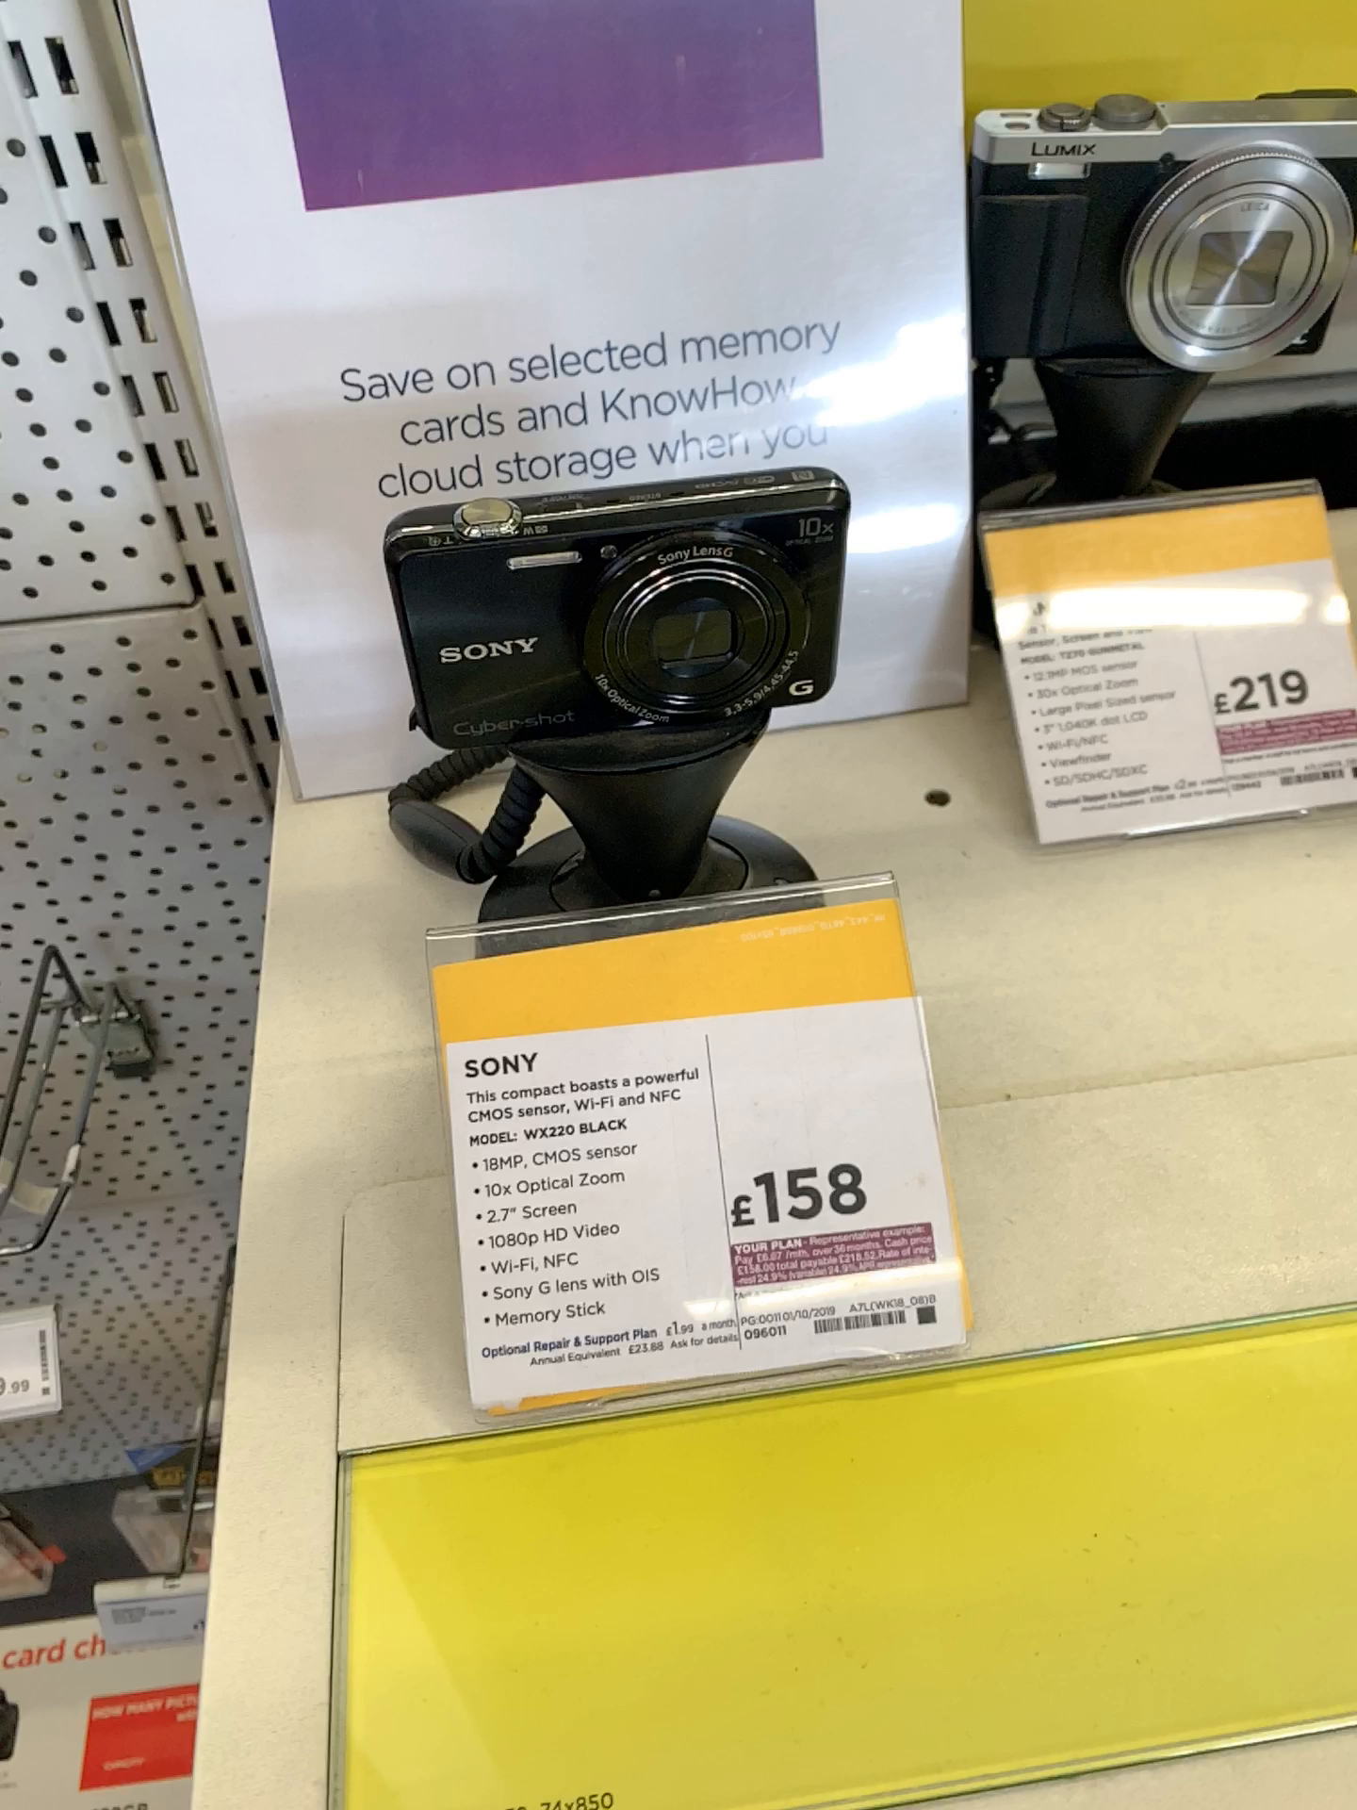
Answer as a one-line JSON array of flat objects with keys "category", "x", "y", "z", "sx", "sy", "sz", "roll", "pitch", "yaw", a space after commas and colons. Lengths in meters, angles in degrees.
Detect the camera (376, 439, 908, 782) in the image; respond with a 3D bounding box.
[{"category": "camera", "x": -0.007, "y": -0.060, "z": 0.291, "sx": 0.100, "sy": 0.050, "sz": 0.030, "roll": -8, "pitch": 48, "yaw": -5}]
